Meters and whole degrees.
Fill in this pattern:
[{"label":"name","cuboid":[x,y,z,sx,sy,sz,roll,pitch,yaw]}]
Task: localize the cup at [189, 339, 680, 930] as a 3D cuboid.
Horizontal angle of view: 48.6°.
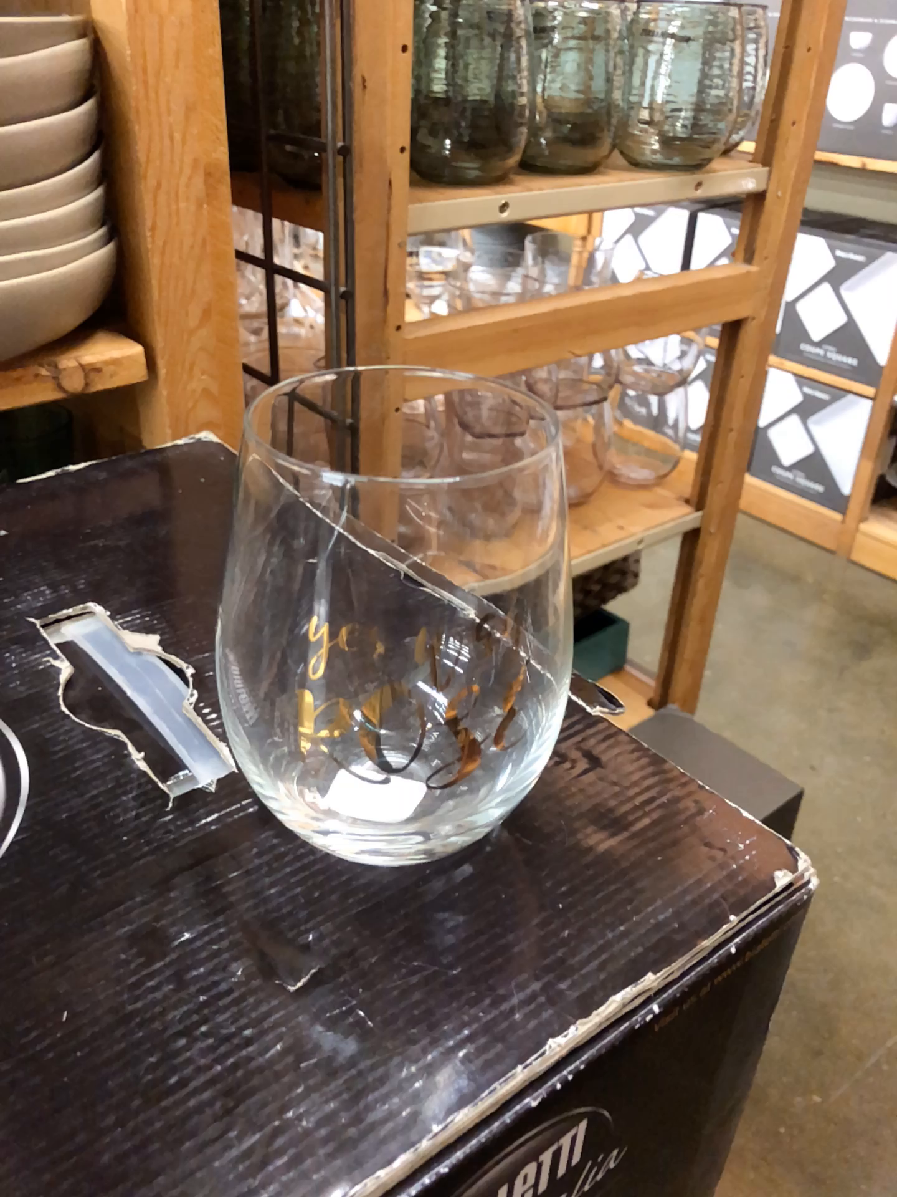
[{"label":"cup","cuboid":[-0.012,0.004,0.260,0.095,0.114,0.091,2,31,-1]}]
